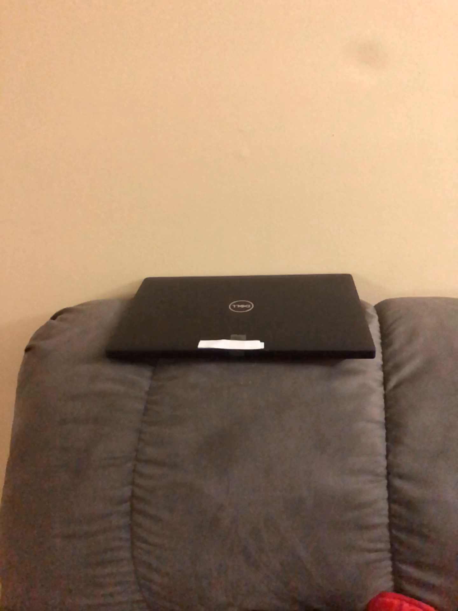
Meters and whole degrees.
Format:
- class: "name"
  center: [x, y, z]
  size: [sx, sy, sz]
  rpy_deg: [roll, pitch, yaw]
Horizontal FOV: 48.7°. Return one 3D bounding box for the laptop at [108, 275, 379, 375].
- class: "laptop"
  center: [0.021, 0.016, 0.703]
  size: [0.326, 0.030, 0.215]
  rpy_deg: [0, 27, 8]
